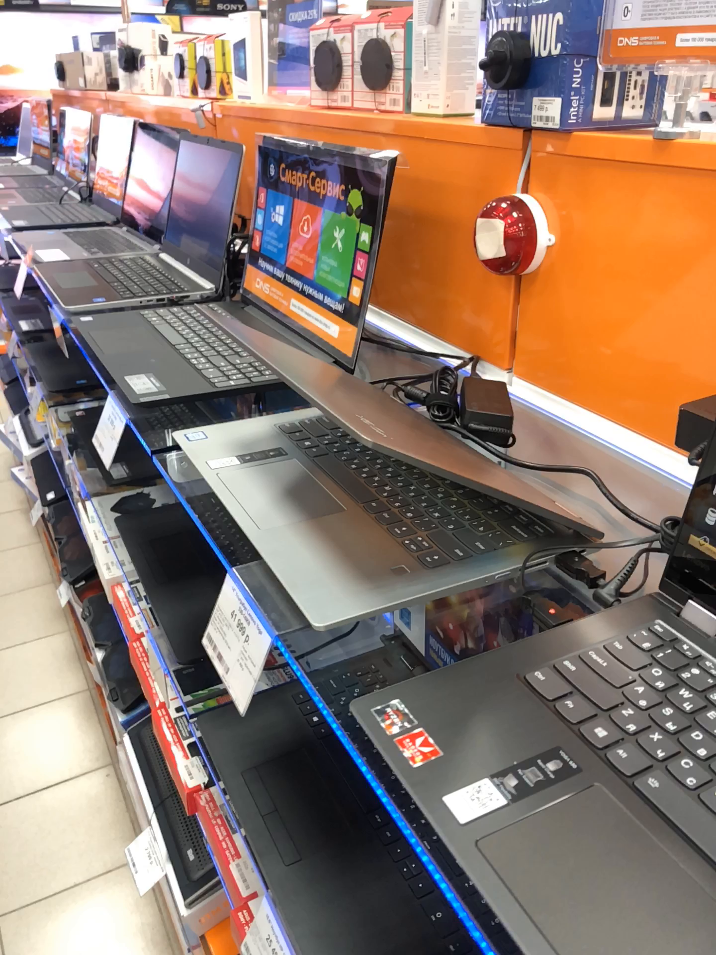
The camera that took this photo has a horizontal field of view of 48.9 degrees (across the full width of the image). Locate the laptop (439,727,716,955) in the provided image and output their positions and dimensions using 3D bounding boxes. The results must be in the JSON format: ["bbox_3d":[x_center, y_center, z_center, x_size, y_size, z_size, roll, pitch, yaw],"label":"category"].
[{"bbox_3d":[0.216,0.345,0.319,0.235,0.228,0.330,-14,29,-24],"label":"laptop"}]

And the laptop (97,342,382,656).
[{"bbox_3d":[-0.162,0.004,1.016,0.243,0.222,0.334,-15,31,-22],"label":"laptop"}]

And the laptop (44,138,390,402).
[{"bbox_3d":[-0.170,-0.263,0.909,0.276,0.219,0.330,-13,29,-25],"label":"laptop"}]

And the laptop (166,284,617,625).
[{"bbox_3d":[0.001,-0.049,0.603,0.210,0.110,0.314,-13,29,-23],"label":"laptop"}]

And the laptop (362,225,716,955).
[{"bbox_3d":[0.180,0.059,0.272,0.247,0.210,0.329,-14,30,-25],"label":"laptop"}]

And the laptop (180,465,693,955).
[{"bbox_3d":[0.032,0.187,0.665,0.260,0.223,0.363,-12,29,-23],"label":"laptop"}]
